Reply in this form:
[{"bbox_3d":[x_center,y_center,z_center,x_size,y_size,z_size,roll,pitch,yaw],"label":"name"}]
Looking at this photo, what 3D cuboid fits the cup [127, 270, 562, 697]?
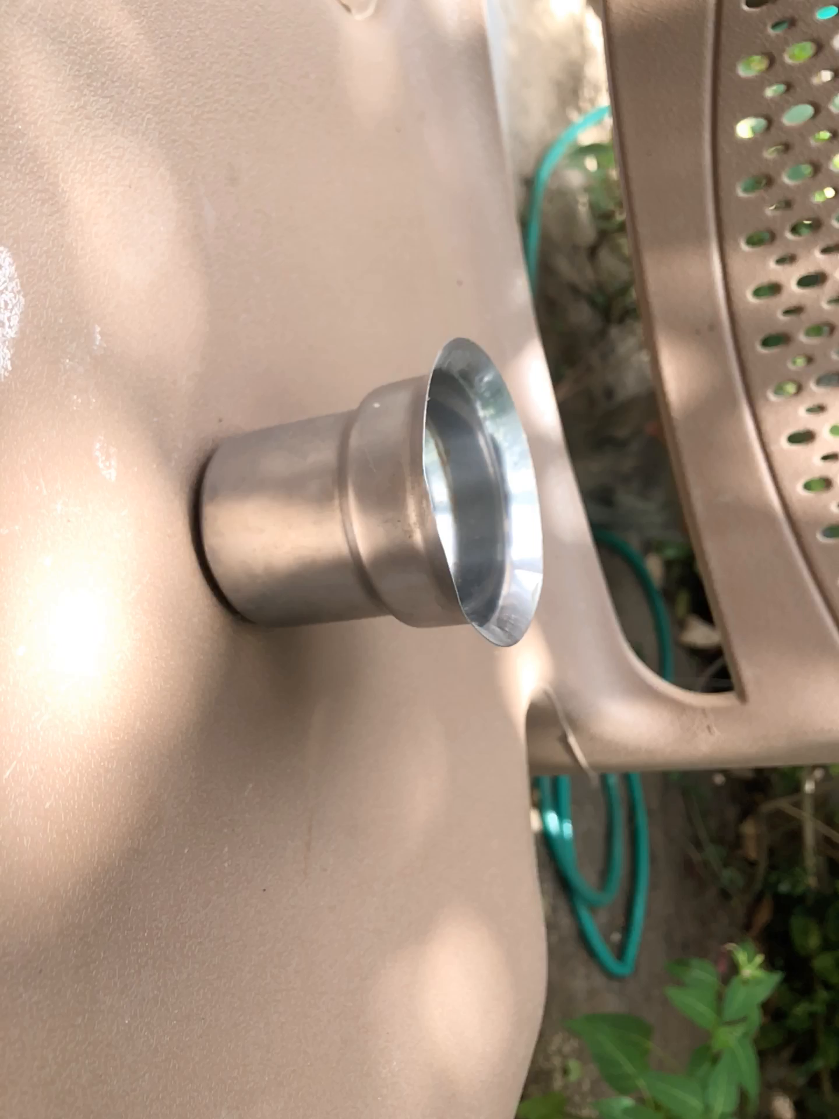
[{"bbox_3d":[-0.013,-0.011,0.217,0.060,0.069,0.070,37,53,-53],"label":"cup"}]
